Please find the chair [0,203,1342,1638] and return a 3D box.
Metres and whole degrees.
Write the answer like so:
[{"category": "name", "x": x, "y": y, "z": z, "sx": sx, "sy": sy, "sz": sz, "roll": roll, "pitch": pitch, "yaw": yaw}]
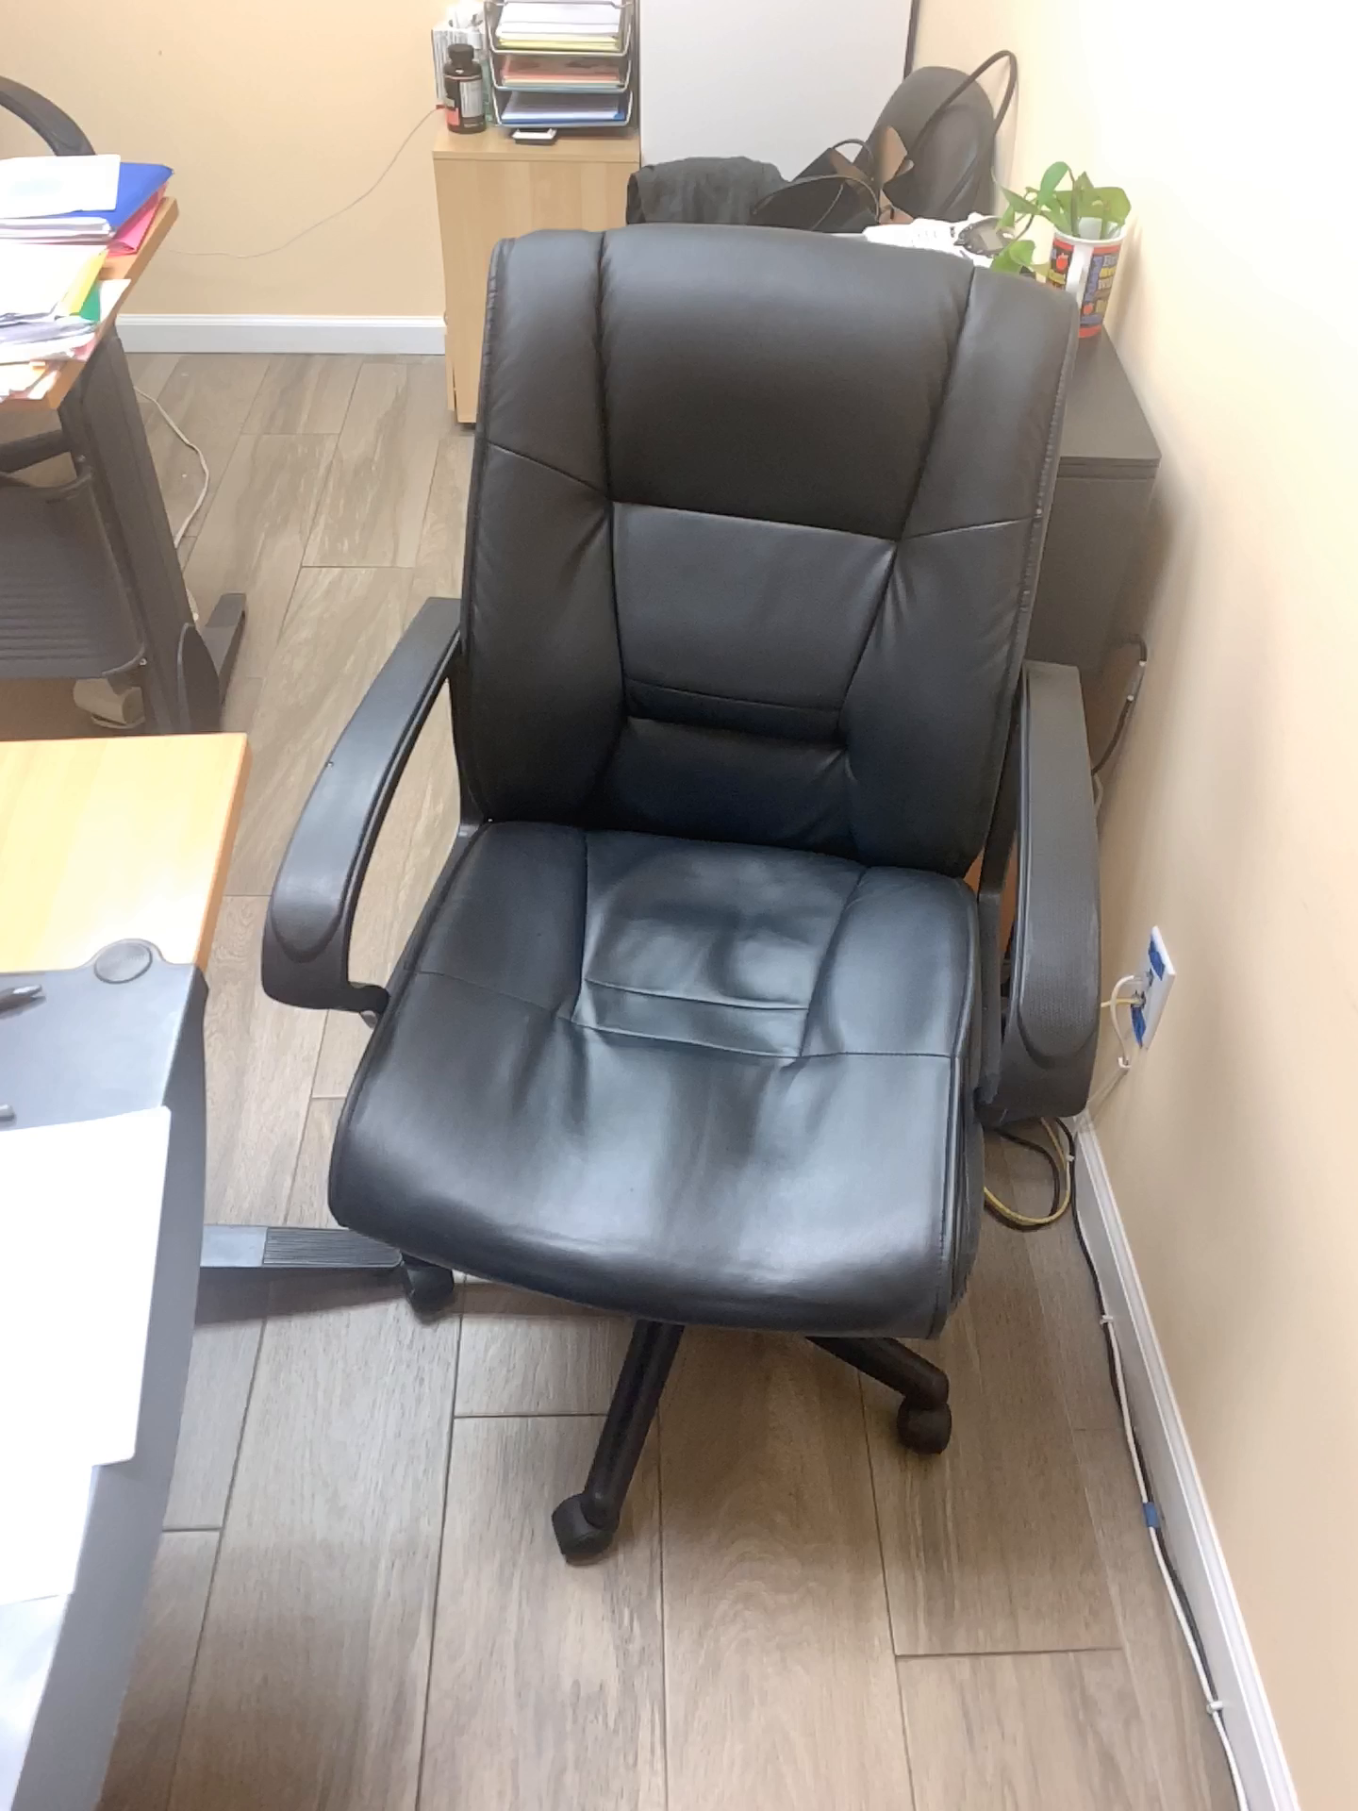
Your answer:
[{"category": "chair", "x": 0.013, "y": 0.044, "z": 1.158, "sx": 0.620, "sy": 0.947, "sz": 0.665, "roll": 7, "pitch": 44, "yaw": 6}]
